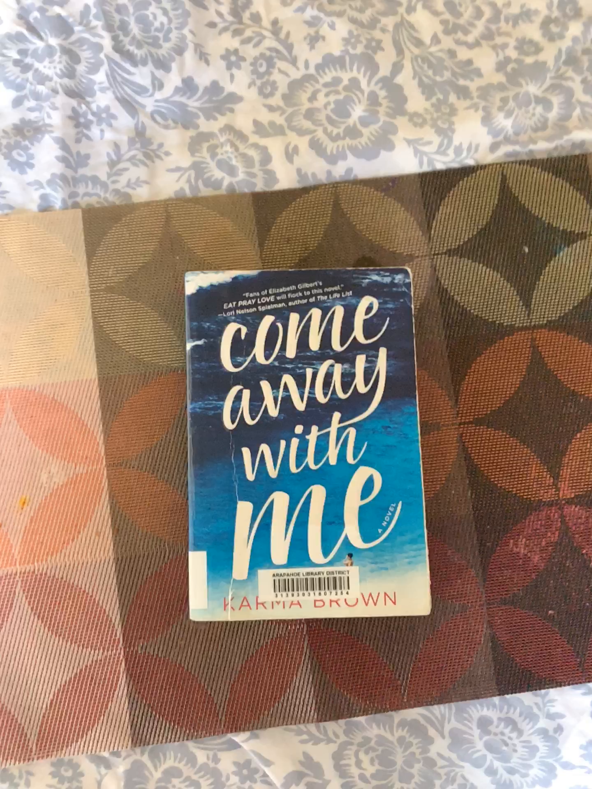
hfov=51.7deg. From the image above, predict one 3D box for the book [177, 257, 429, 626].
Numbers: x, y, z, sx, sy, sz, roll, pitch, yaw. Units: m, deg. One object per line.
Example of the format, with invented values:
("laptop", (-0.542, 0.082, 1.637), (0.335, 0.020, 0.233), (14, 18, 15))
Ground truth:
("book", (0.002, 0.024, 0.351), (0.134, 0.030, 0.200), (-1, 84, 1))
